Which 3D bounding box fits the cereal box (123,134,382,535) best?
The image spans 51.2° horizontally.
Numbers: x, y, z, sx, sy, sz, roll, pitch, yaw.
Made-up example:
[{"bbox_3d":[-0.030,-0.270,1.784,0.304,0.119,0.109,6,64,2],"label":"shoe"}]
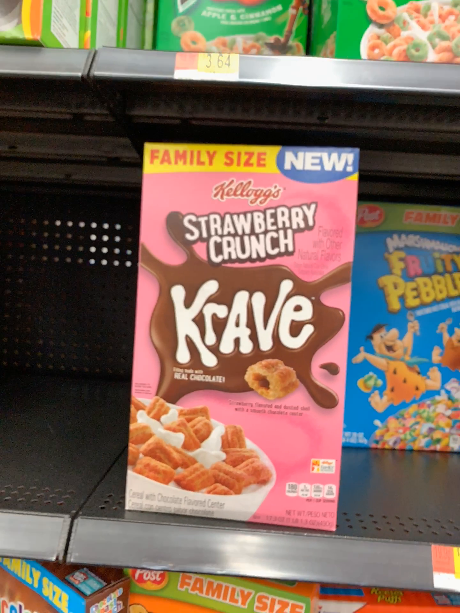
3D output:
[{"bbox_3d":[0.020,0.020,0.442,0.200,0.330,0.060,4,0,5],"label":"cereal box"}]
